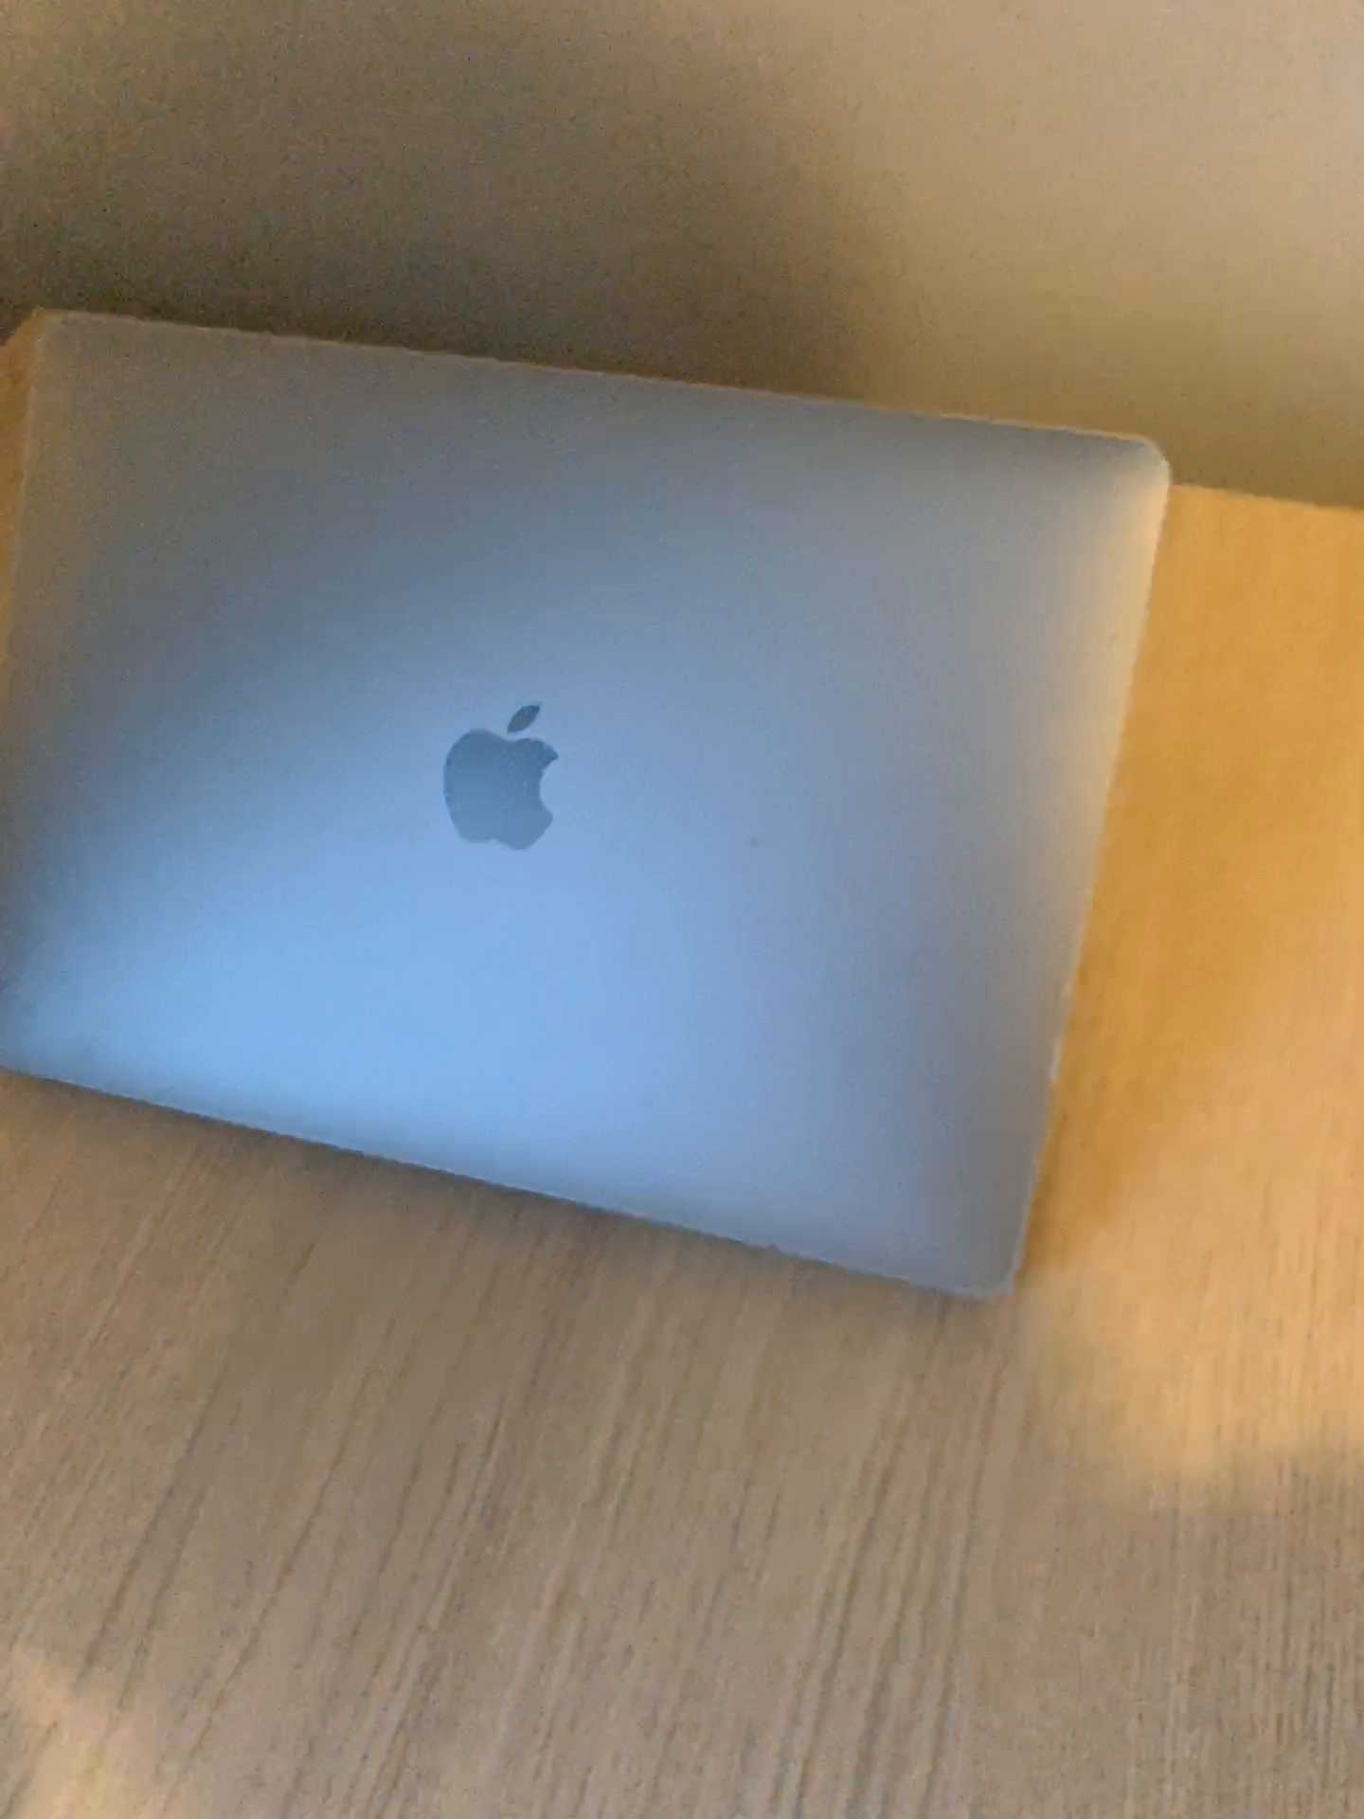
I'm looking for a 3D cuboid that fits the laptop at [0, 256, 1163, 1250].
[{"bbox_3d":[-0.041,-0.058,0.400,0.309,0.127,0.207,10,55,11],"label":"laptop"}]
